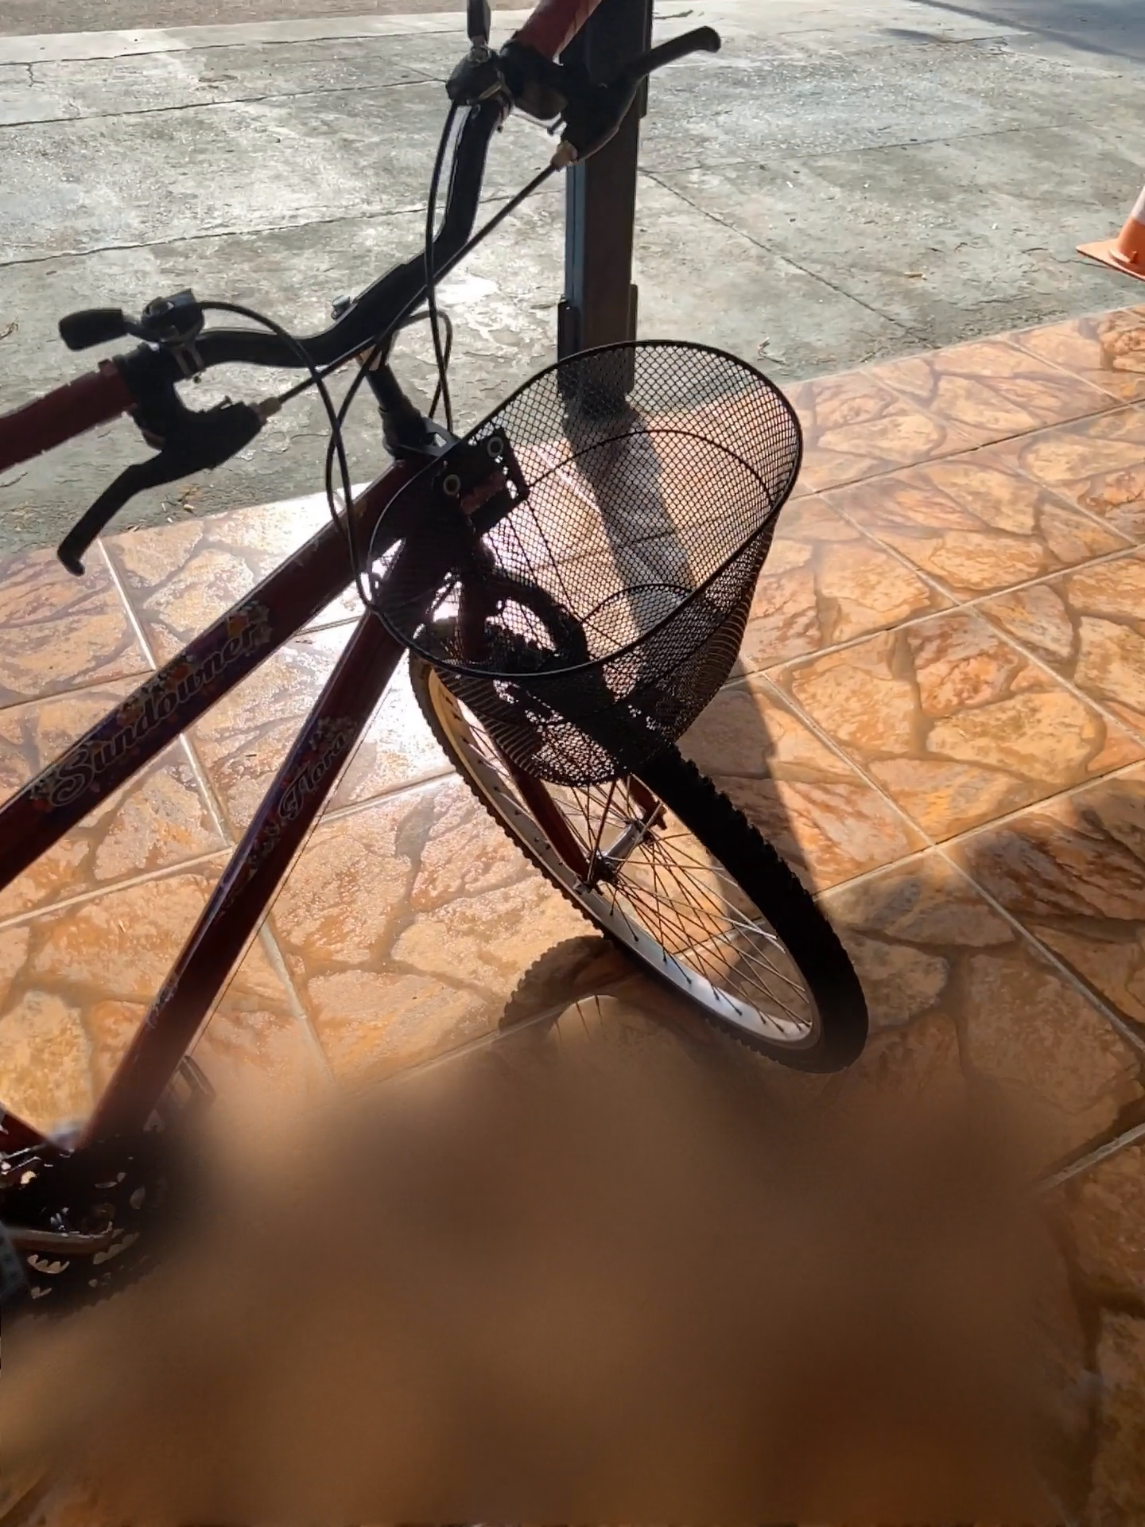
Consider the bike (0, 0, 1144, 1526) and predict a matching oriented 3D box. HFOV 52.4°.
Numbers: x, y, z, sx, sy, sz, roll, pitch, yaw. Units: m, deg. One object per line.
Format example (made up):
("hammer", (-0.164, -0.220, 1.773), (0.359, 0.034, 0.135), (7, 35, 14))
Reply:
("bike", (-0.442, 0.215, 0.773), (1.410, 1.081, 0.551), (-18, 47, -19))
